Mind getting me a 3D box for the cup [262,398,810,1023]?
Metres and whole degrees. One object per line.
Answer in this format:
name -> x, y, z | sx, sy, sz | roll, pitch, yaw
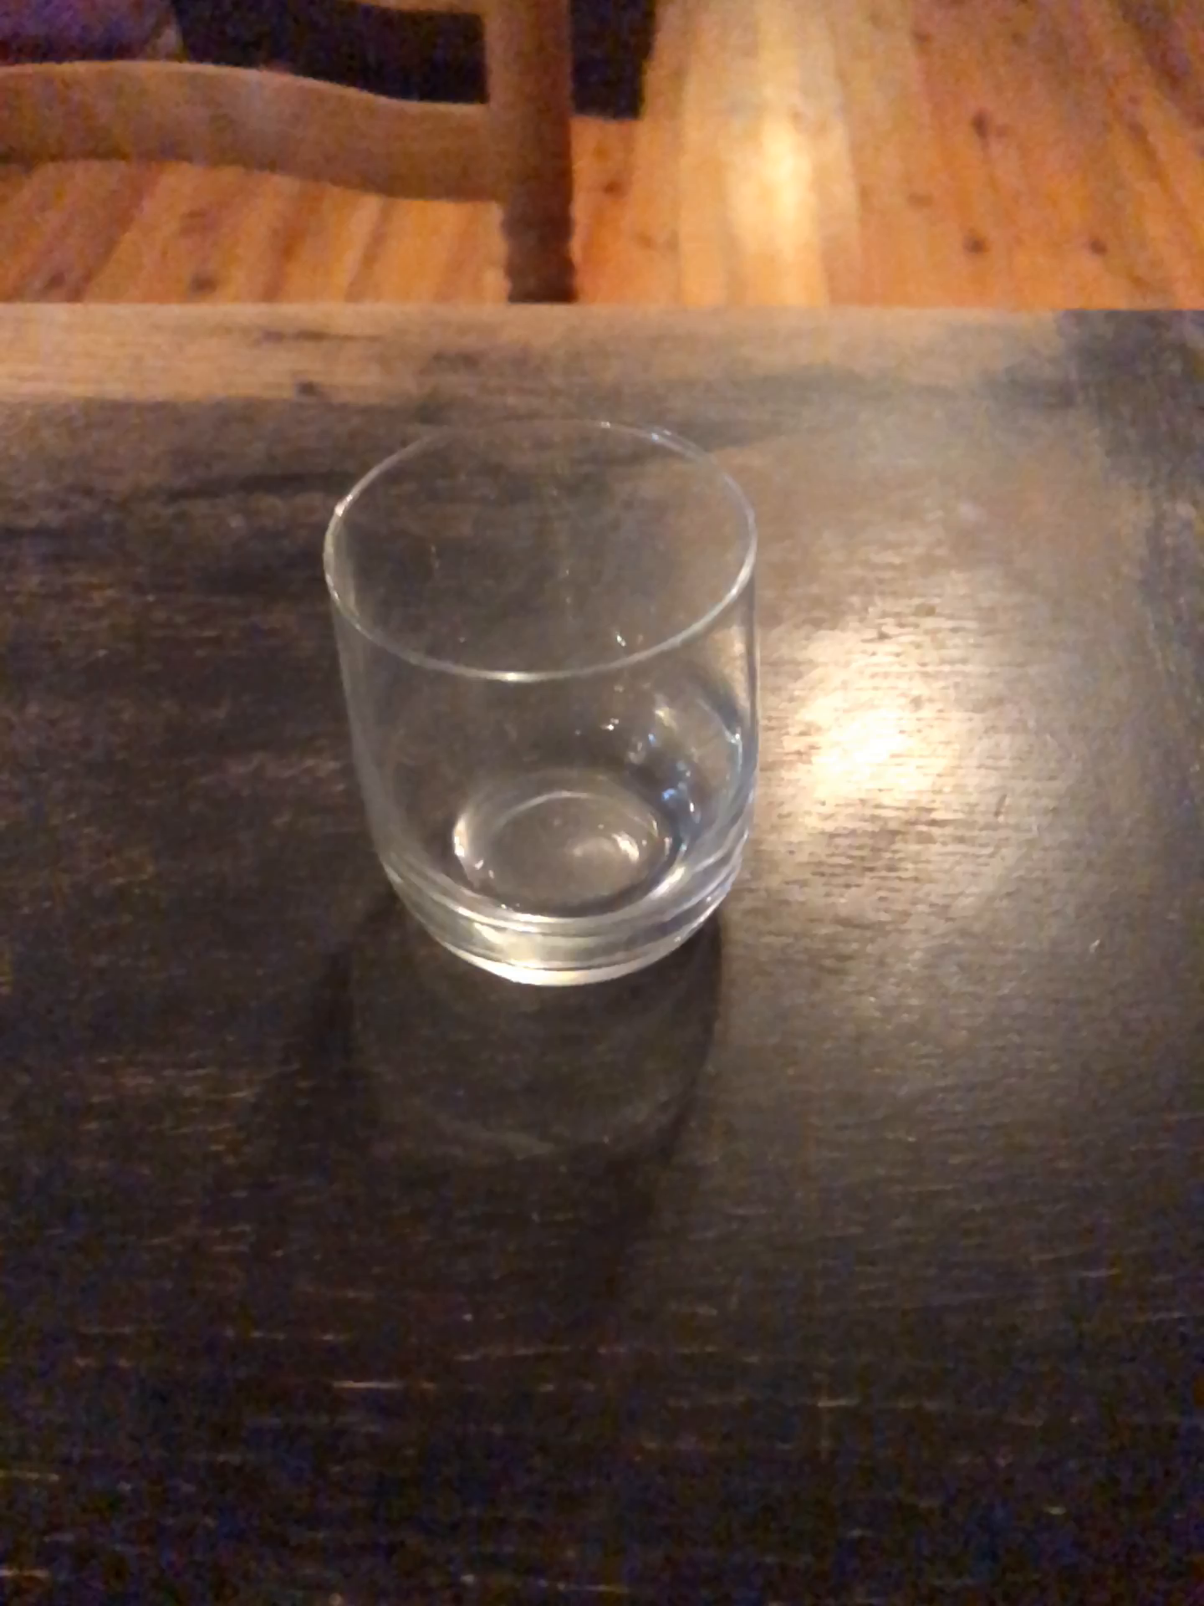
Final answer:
cup -> -0.010, -0.015, 0.244 | 0.077, 0.084, 0.071 | -1, 48, 1
